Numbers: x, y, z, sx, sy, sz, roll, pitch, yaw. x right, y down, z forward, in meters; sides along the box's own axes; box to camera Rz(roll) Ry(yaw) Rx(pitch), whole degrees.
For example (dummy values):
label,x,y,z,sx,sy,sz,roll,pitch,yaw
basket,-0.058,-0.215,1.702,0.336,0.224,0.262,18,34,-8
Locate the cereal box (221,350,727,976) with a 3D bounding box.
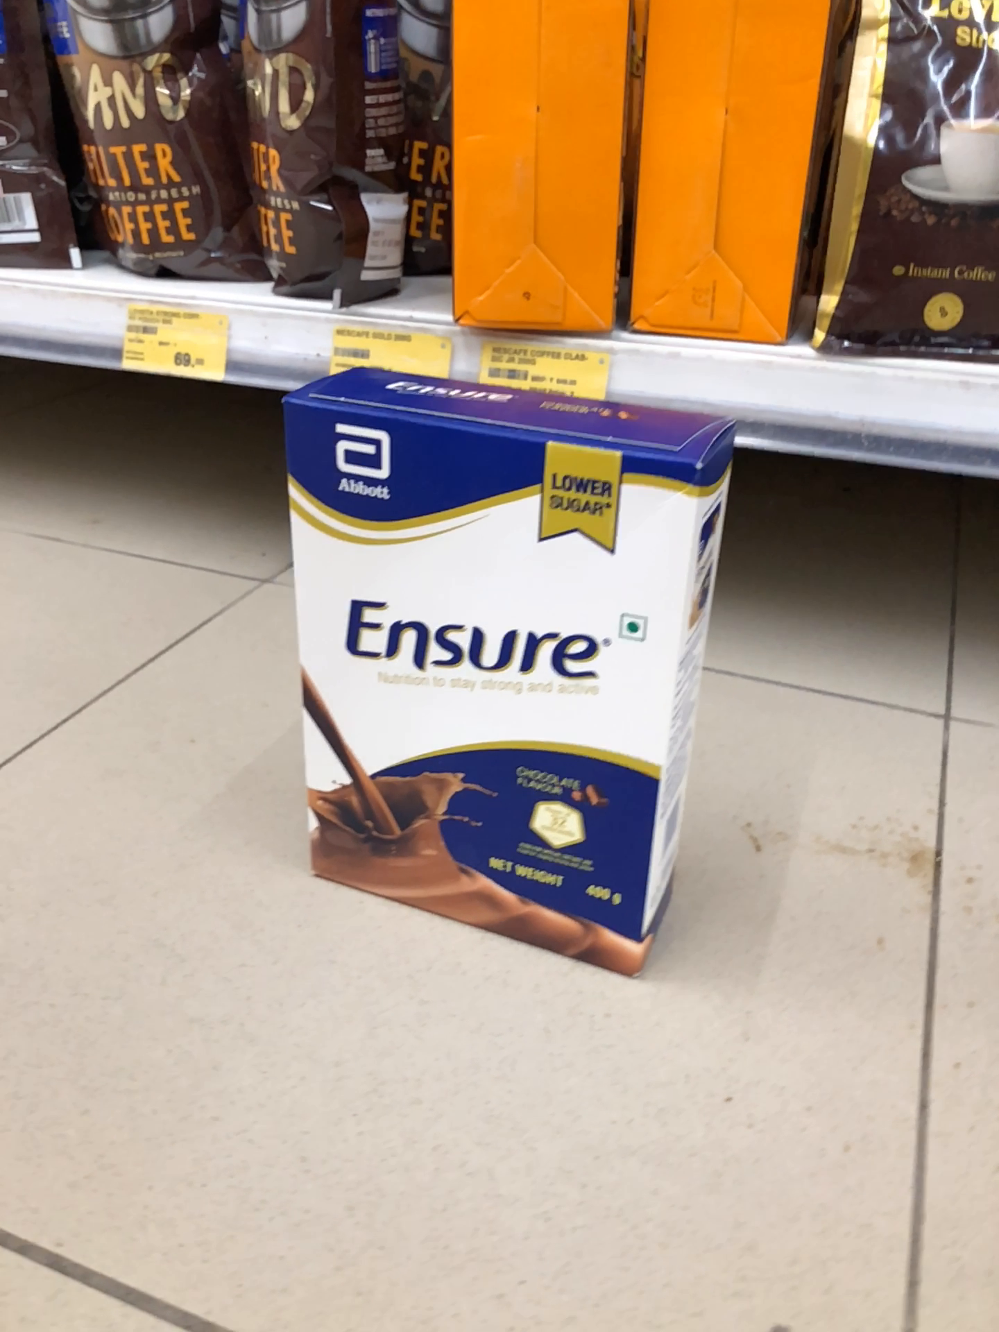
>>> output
label,x,y,z,sx,sy,sz,roll,pitch,yaw
cereal box,-0.008,-0.004,0.374,0.140,0.179,0.060,11,29,21
